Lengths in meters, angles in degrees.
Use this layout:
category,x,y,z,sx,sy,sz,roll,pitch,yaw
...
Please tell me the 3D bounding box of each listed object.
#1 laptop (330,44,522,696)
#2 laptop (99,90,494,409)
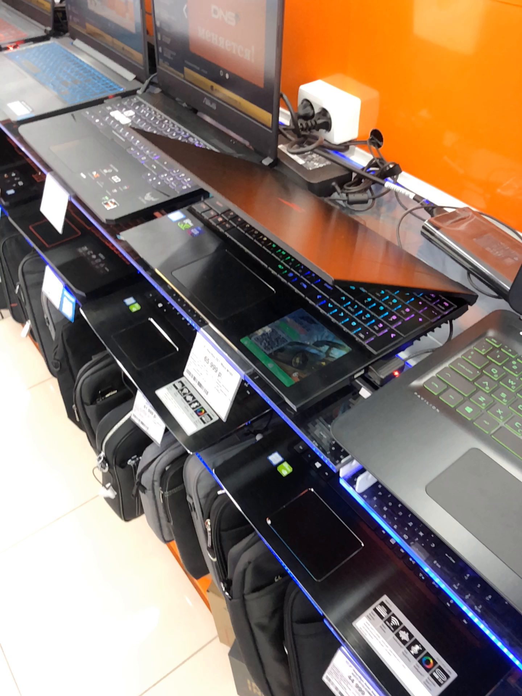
category,x,y,z,sx,sy,sz,roll,pitch,yaw
laptop,0.273,0.007,0.378,0.307,0.252,0.335,-28,50,-25
laptop,0.016,-0.139,0.630,0.233,0.118,0.360,-29,49,-22
